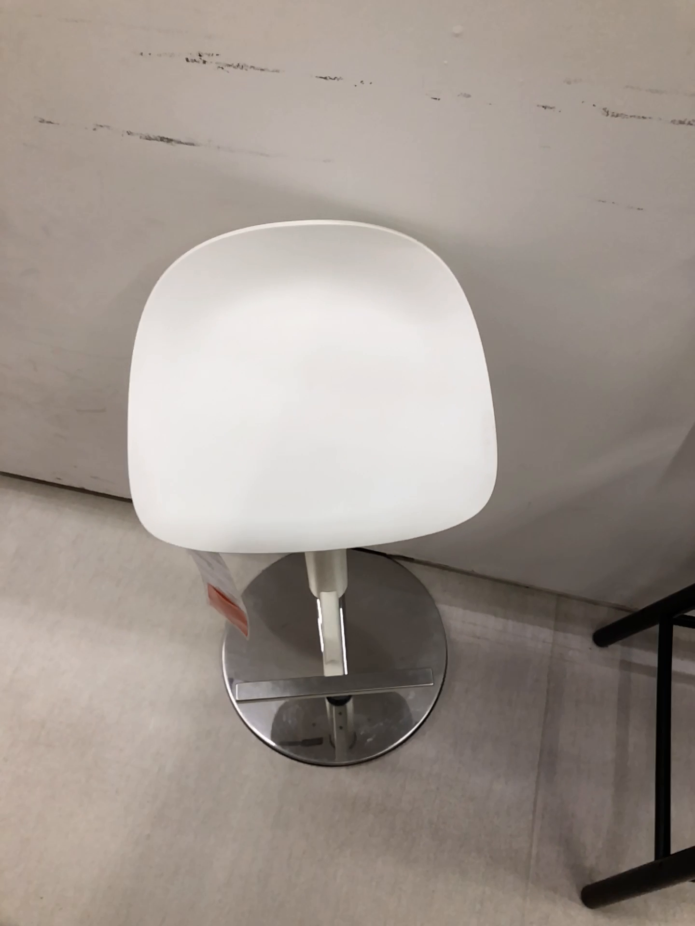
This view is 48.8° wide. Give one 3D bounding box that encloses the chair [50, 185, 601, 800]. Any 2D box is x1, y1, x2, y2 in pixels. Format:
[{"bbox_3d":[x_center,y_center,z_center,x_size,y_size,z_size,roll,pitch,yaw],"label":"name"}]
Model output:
[{"bbox_3d":[-0.030,0.107,1.062,0.440,0.746,0.513,-4,57,-2],"label":"chair"}]
